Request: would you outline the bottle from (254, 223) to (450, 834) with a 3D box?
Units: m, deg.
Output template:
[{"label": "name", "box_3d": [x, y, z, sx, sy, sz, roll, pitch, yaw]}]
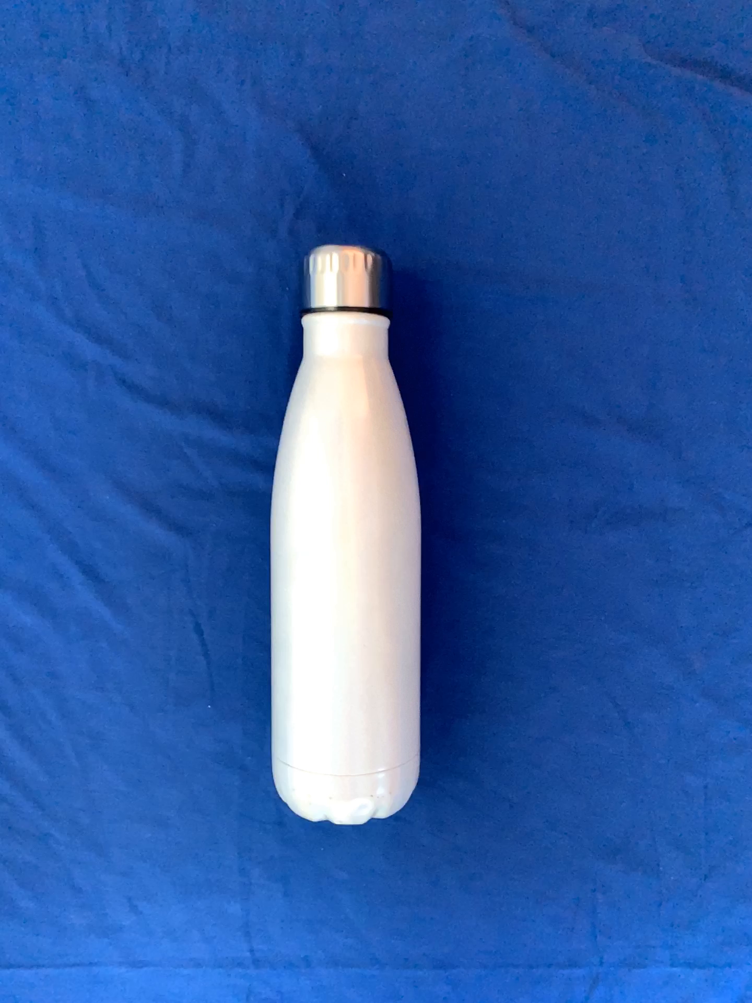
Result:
[{"label": "bottle", "box_3d": [-0.009, 0.014, 0.354, 0.080, 0.050, 0.260, 0, 96, 3]}]
